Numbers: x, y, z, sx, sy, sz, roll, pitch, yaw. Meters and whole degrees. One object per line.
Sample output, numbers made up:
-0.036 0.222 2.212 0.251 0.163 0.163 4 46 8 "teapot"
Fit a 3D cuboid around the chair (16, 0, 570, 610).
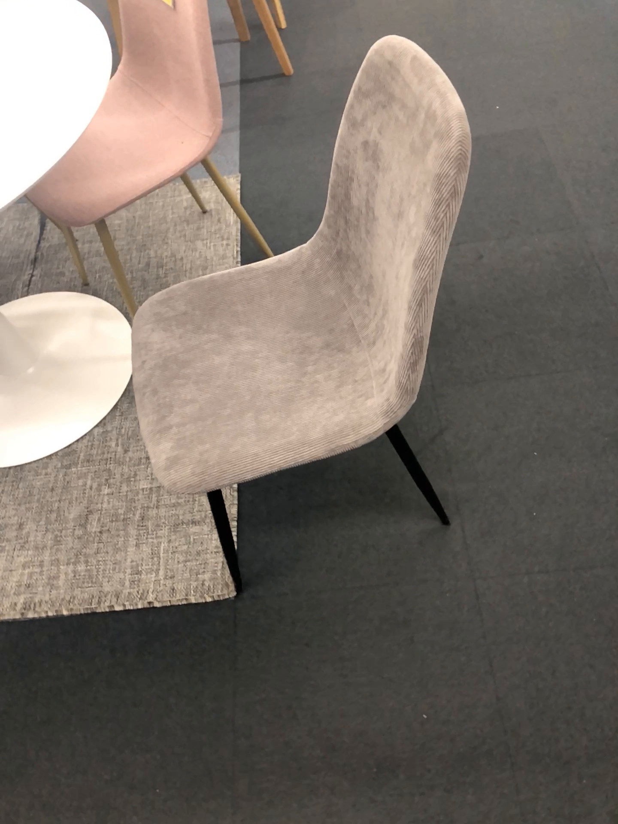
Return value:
-0.028 -0.141 1.182 0.580 0.808 0.582 -15 55 -2 "chair"
